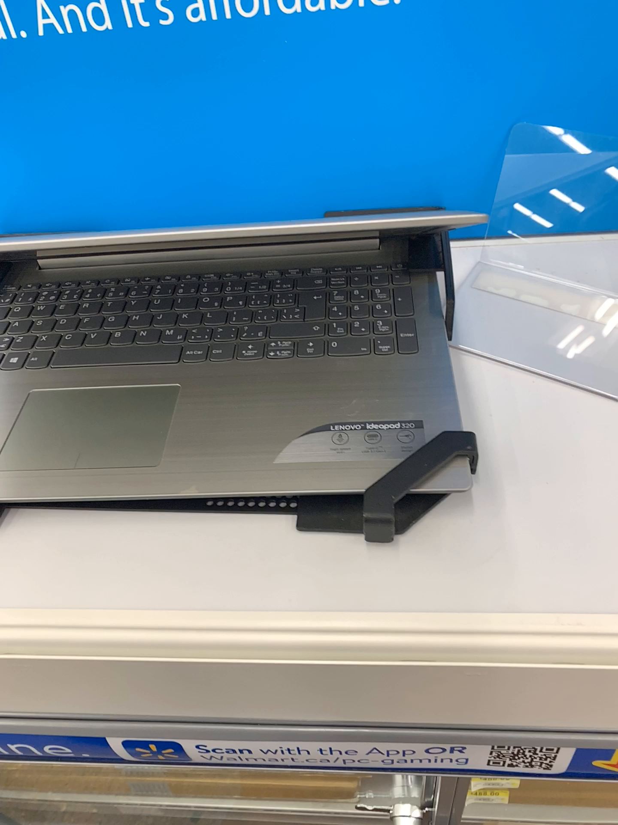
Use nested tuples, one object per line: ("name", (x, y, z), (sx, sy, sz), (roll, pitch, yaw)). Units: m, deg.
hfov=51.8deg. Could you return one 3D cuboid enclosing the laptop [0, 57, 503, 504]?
("laptop", (-0.084, -0.082, 0.355), (0.326, 0.115, 0.230), (-2, 46, 5))
